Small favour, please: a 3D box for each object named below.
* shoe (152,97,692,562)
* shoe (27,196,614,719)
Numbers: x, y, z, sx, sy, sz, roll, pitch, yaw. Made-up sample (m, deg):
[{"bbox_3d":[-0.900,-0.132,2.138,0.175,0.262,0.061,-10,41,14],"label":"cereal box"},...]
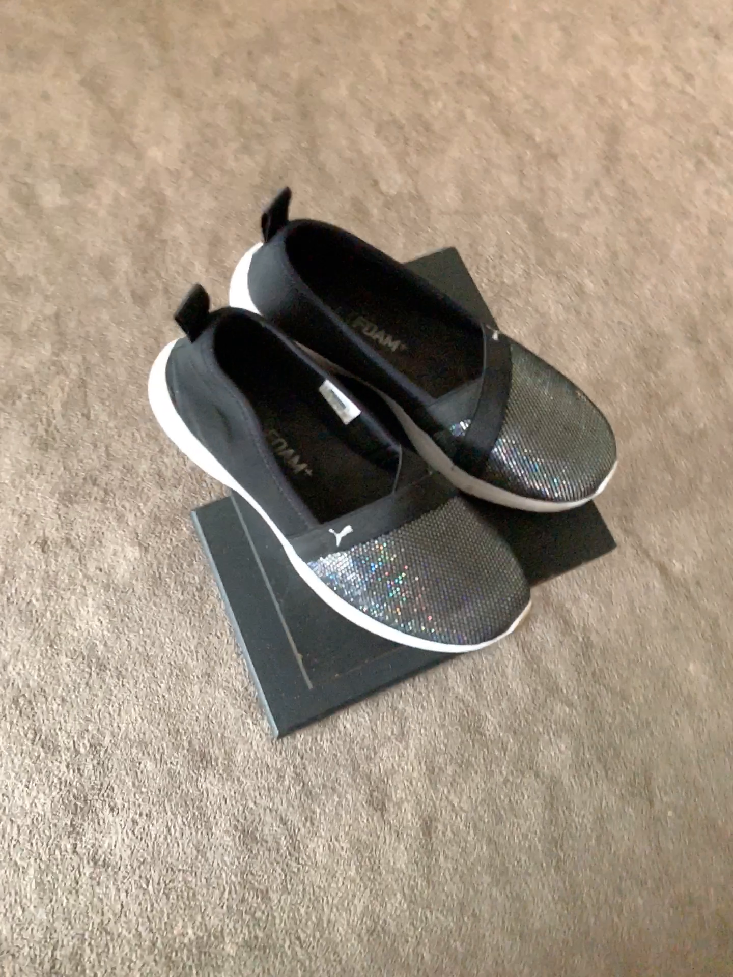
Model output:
[{"bbox_3d":[0.024,-0.083,0.418,0.256,0.100,0.100,34,72,6],"label":"shoe"},{"bbox_3d":[-0.026,-0.011,0.383,0.260,0.100,0.100,39,73,8],"label":"shoe"}]
